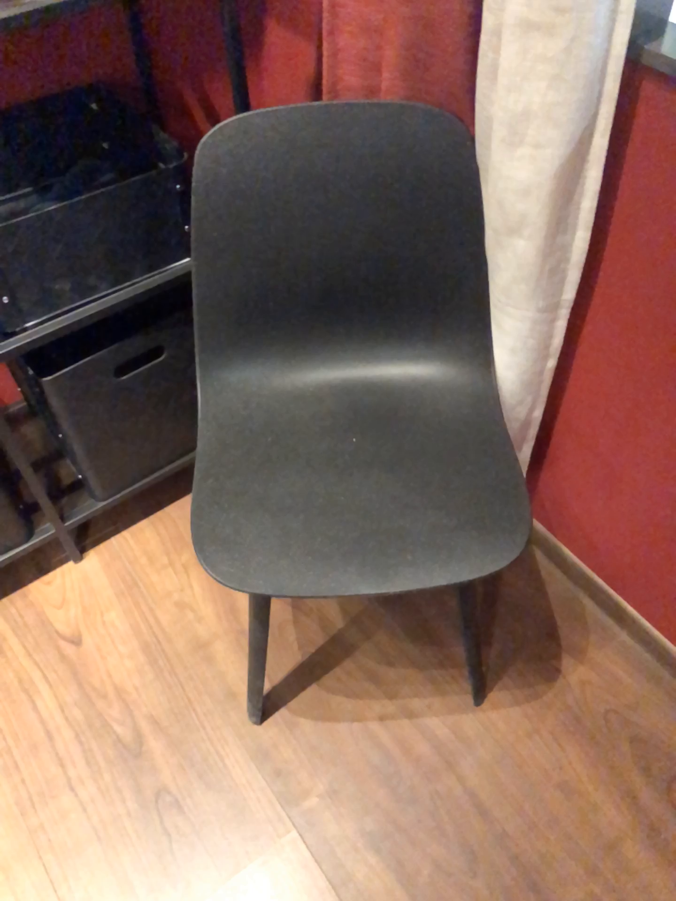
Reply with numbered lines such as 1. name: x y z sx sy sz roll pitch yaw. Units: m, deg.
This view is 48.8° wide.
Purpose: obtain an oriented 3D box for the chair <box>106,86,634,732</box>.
1. chair: 0.016 -0.006 1.009 0.410 0.726 0.483 -4 50 -2
